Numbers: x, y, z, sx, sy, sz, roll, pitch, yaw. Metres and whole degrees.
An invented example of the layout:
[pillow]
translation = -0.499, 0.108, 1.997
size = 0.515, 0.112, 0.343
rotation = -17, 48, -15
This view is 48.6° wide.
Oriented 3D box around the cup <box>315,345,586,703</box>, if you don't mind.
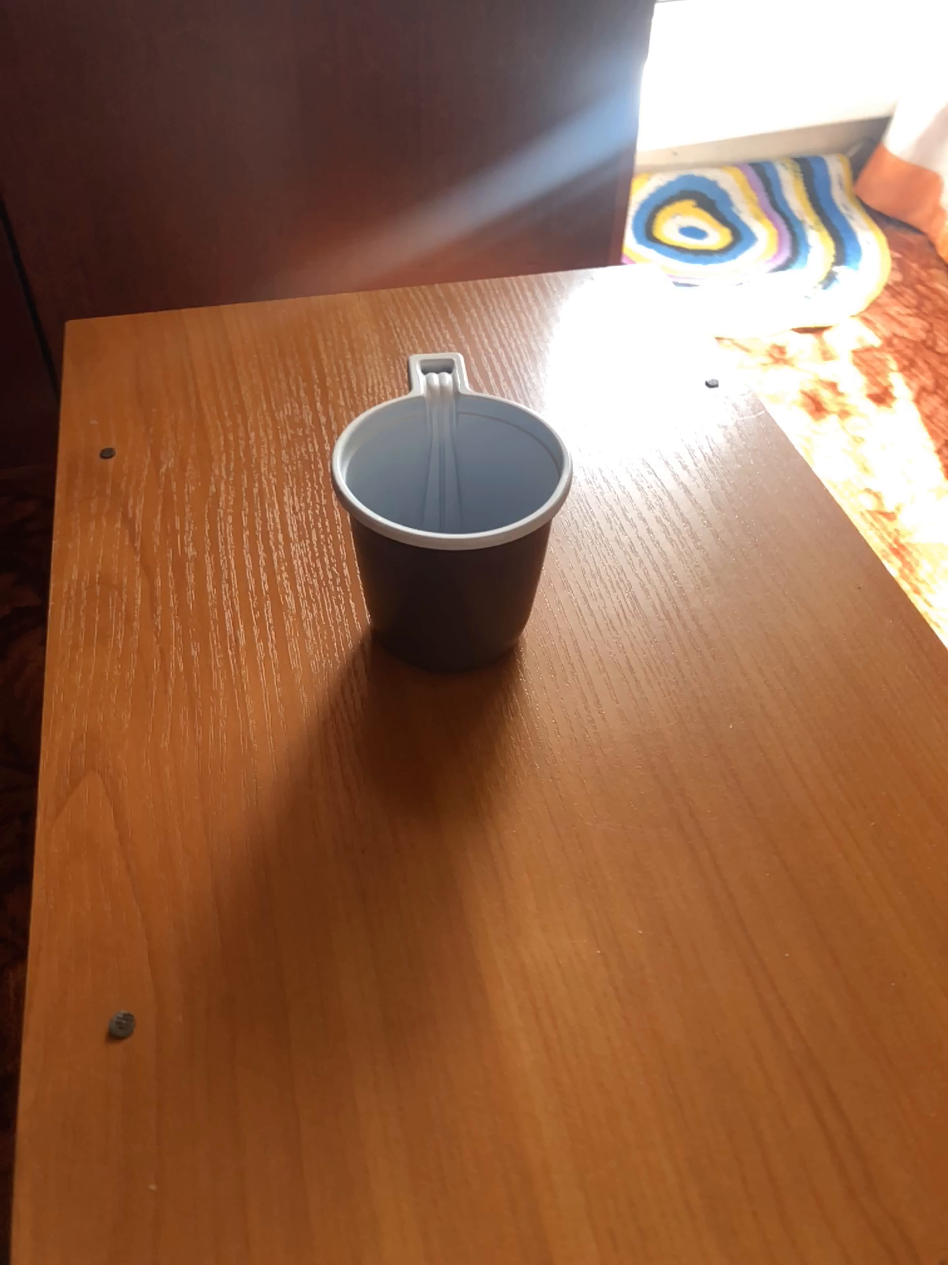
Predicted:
[cup]
translation = -0.012, -0.038, 0.340
size = 0.070, 0.060, 0.100
rotation = -5, 46, -6
